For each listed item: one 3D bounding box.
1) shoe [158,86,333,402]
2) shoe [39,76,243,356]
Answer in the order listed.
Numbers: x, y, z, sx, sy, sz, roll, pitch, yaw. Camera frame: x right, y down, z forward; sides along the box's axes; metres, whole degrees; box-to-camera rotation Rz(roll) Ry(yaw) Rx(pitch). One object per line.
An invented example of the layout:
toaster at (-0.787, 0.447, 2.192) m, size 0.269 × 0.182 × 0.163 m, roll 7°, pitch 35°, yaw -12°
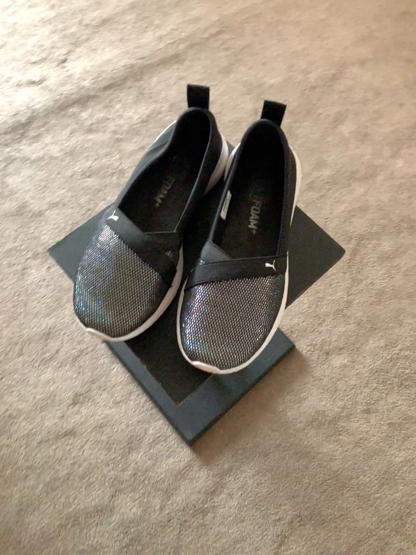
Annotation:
shoe at (0.036, -0.031, 0.404) m, size 0.090 × 0.080 × 0.260 m, roll 14°, pitch 82°, yaw 3°
shoe at (-0.053, -0.055, 0.413) m, size 0.090 × 0.080 × 0.240 m, roll 22°, pitch 81°, yaw 6°
